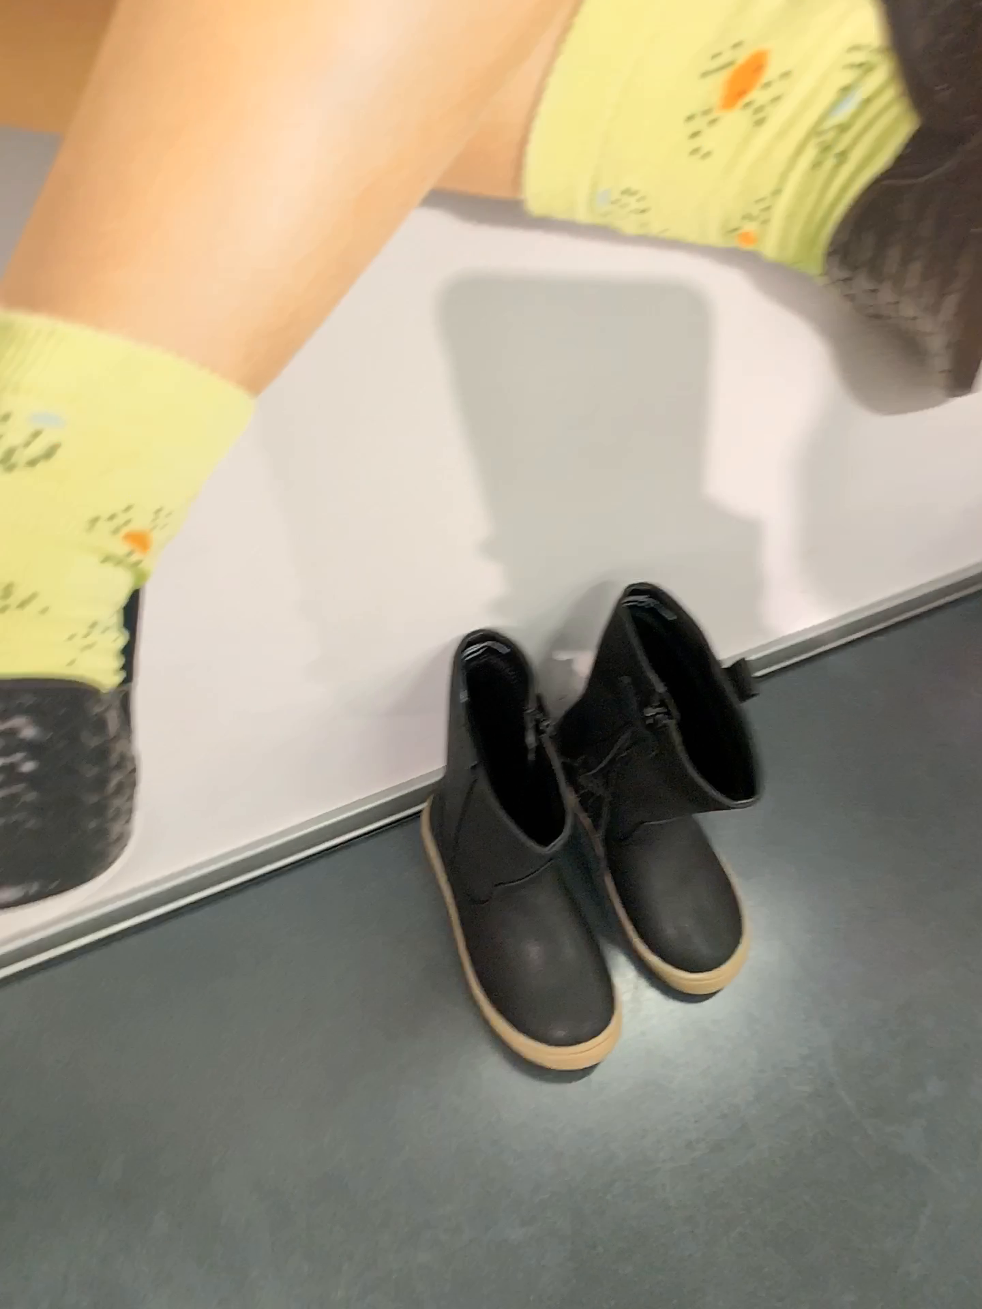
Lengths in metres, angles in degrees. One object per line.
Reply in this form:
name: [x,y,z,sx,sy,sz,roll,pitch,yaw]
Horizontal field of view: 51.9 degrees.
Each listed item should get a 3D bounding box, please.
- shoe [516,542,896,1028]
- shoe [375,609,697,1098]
shoe: [0.098,0.081,0.562,0.080,0.199,0.190,-19,62,-15]
shoe: [0.009,0.116,0.549,0.080,0.199,0.190,-18,62,-14]
